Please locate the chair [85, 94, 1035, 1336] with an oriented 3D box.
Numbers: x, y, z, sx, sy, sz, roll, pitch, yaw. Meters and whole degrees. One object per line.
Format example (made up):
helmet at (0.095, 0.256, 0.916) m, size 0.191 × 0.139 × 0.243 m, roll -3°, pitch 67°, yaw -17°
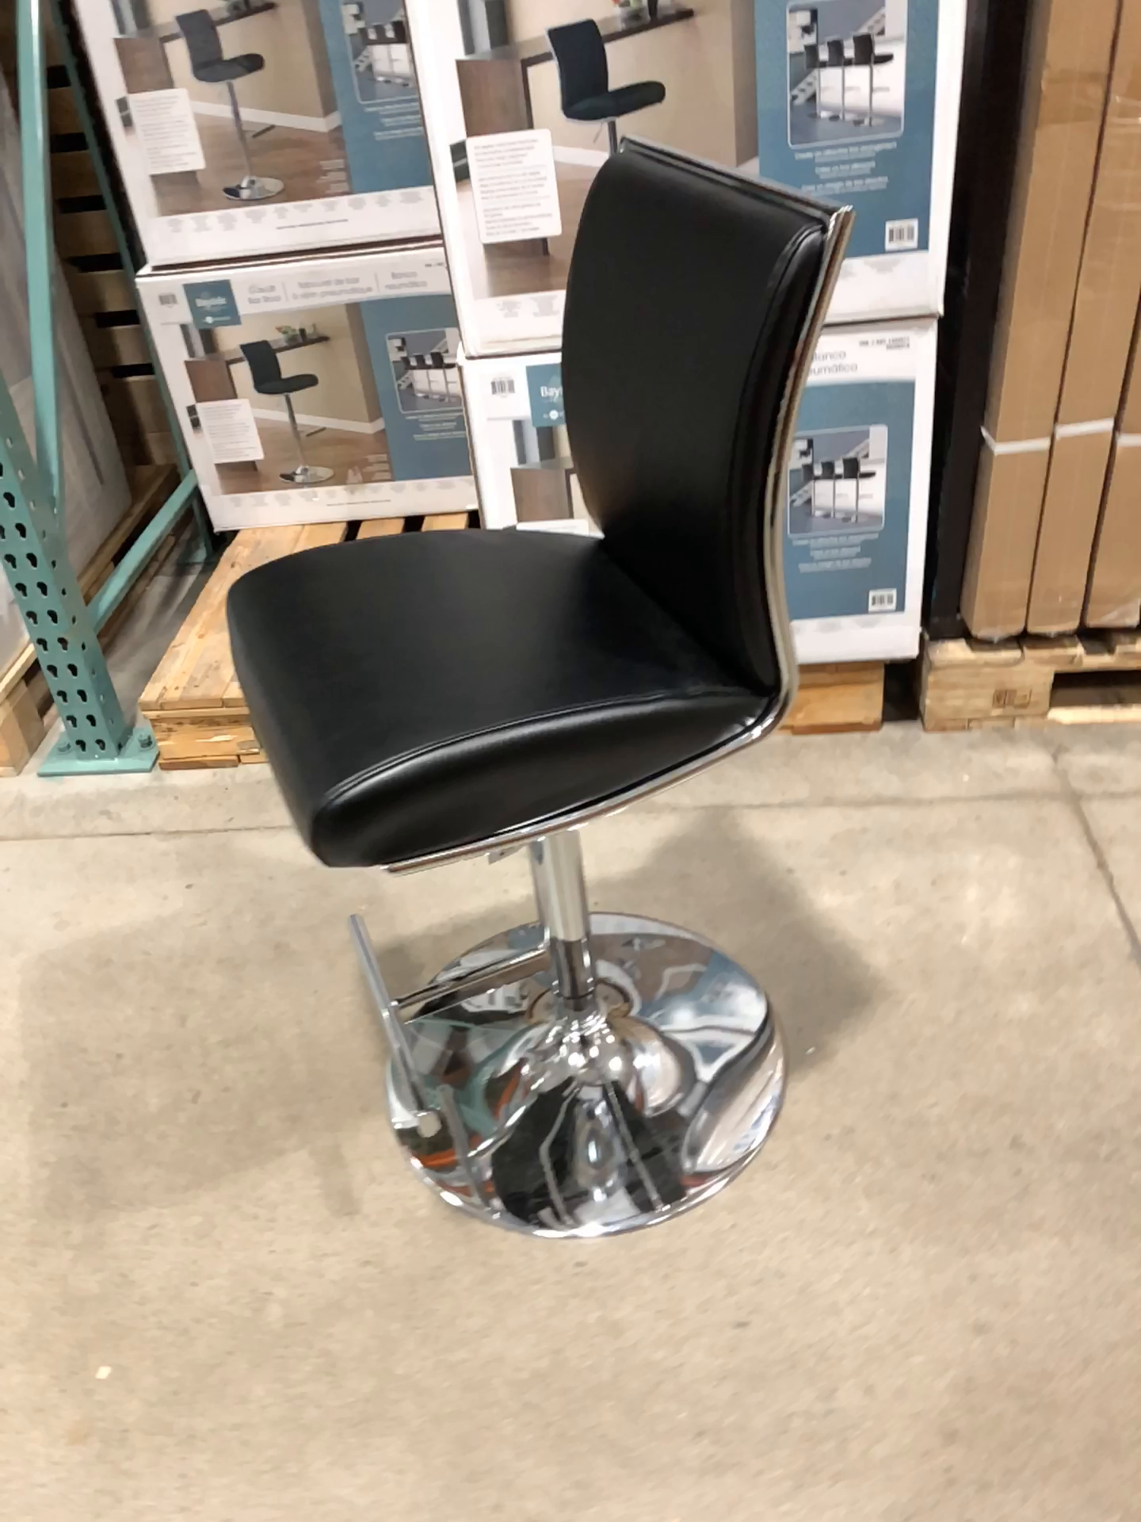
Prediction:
chair at (-0.014, -0.044, 1.212) m, size 0.540 × 0.946 × 0.532 m, roll -19°, pitch 38°, yaw -17°
